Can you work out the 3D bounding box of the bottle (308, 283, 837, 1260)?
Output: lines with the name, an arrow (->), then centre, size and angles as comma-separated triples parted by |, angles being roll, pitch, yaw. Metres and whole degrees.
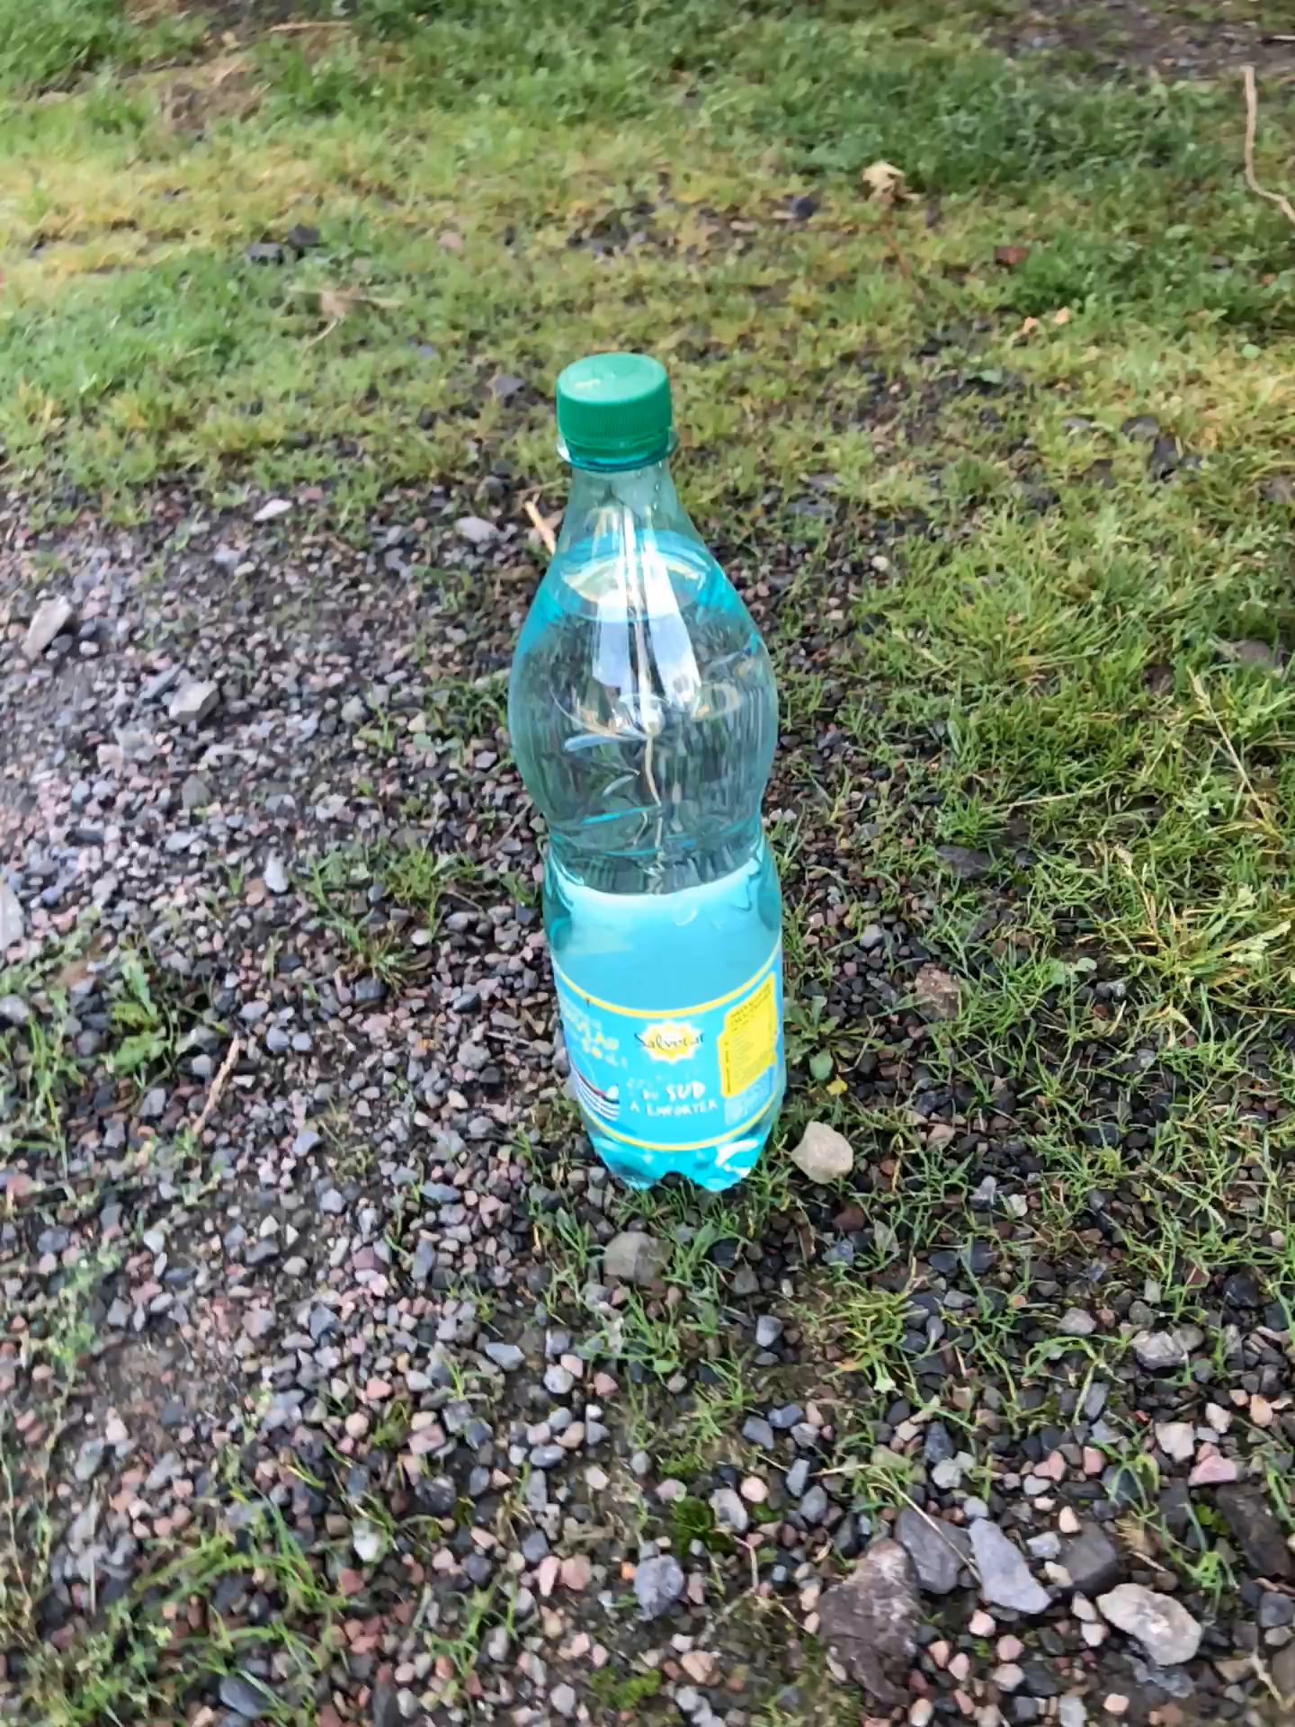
bottle -> -0.007, -0.012, 0.463 | 0.100, 0.298, 0.090 | -32, 48, -25
